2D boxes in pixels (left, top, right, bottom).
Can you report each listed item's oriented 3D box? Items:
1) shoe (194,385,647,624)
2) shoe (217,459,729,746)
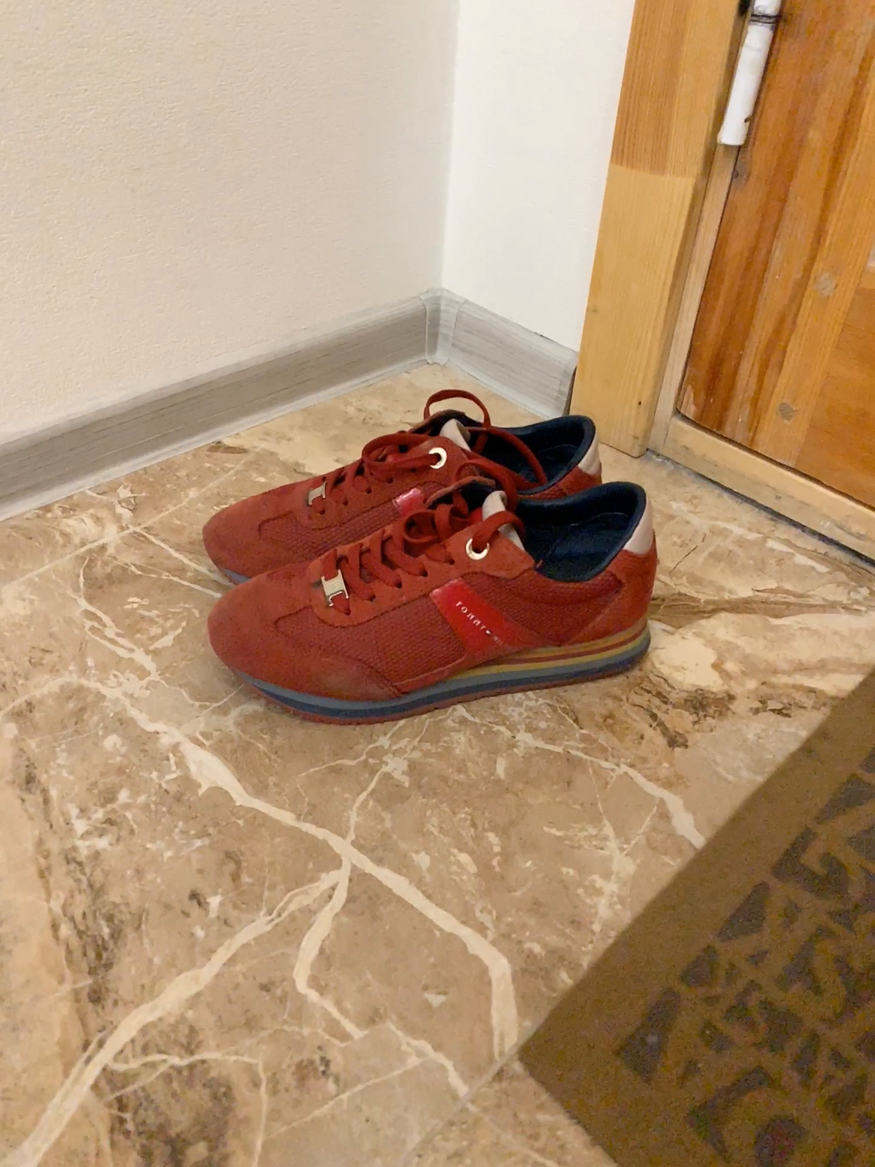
[{"bbox_3d":[-0.015,-0.050,0.528,0.240,0.089,0.091,-5,40,-11],"label":"shoe"},{"bbox_3d":[0.013,0.005,0.473,0.240,0.089,0.091,-6,40,-12],"label":"shoe"}]
